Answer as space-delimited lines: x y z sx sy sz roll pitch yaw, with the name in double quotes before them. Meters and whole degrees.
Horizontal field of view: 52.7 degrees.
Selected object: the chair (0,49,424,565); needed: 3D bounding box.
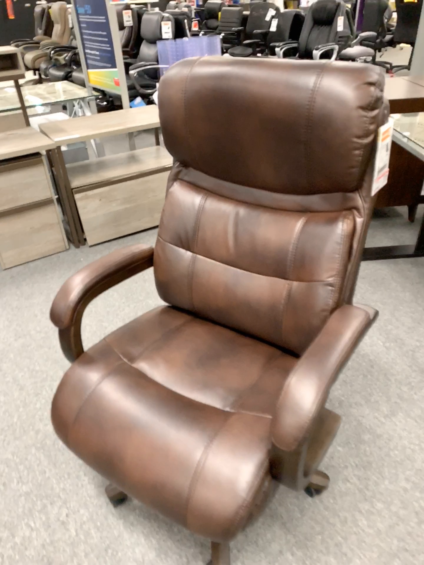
"chair" -0.015 0.096 1.056 0.711 1.094 0.702 19 40 28
